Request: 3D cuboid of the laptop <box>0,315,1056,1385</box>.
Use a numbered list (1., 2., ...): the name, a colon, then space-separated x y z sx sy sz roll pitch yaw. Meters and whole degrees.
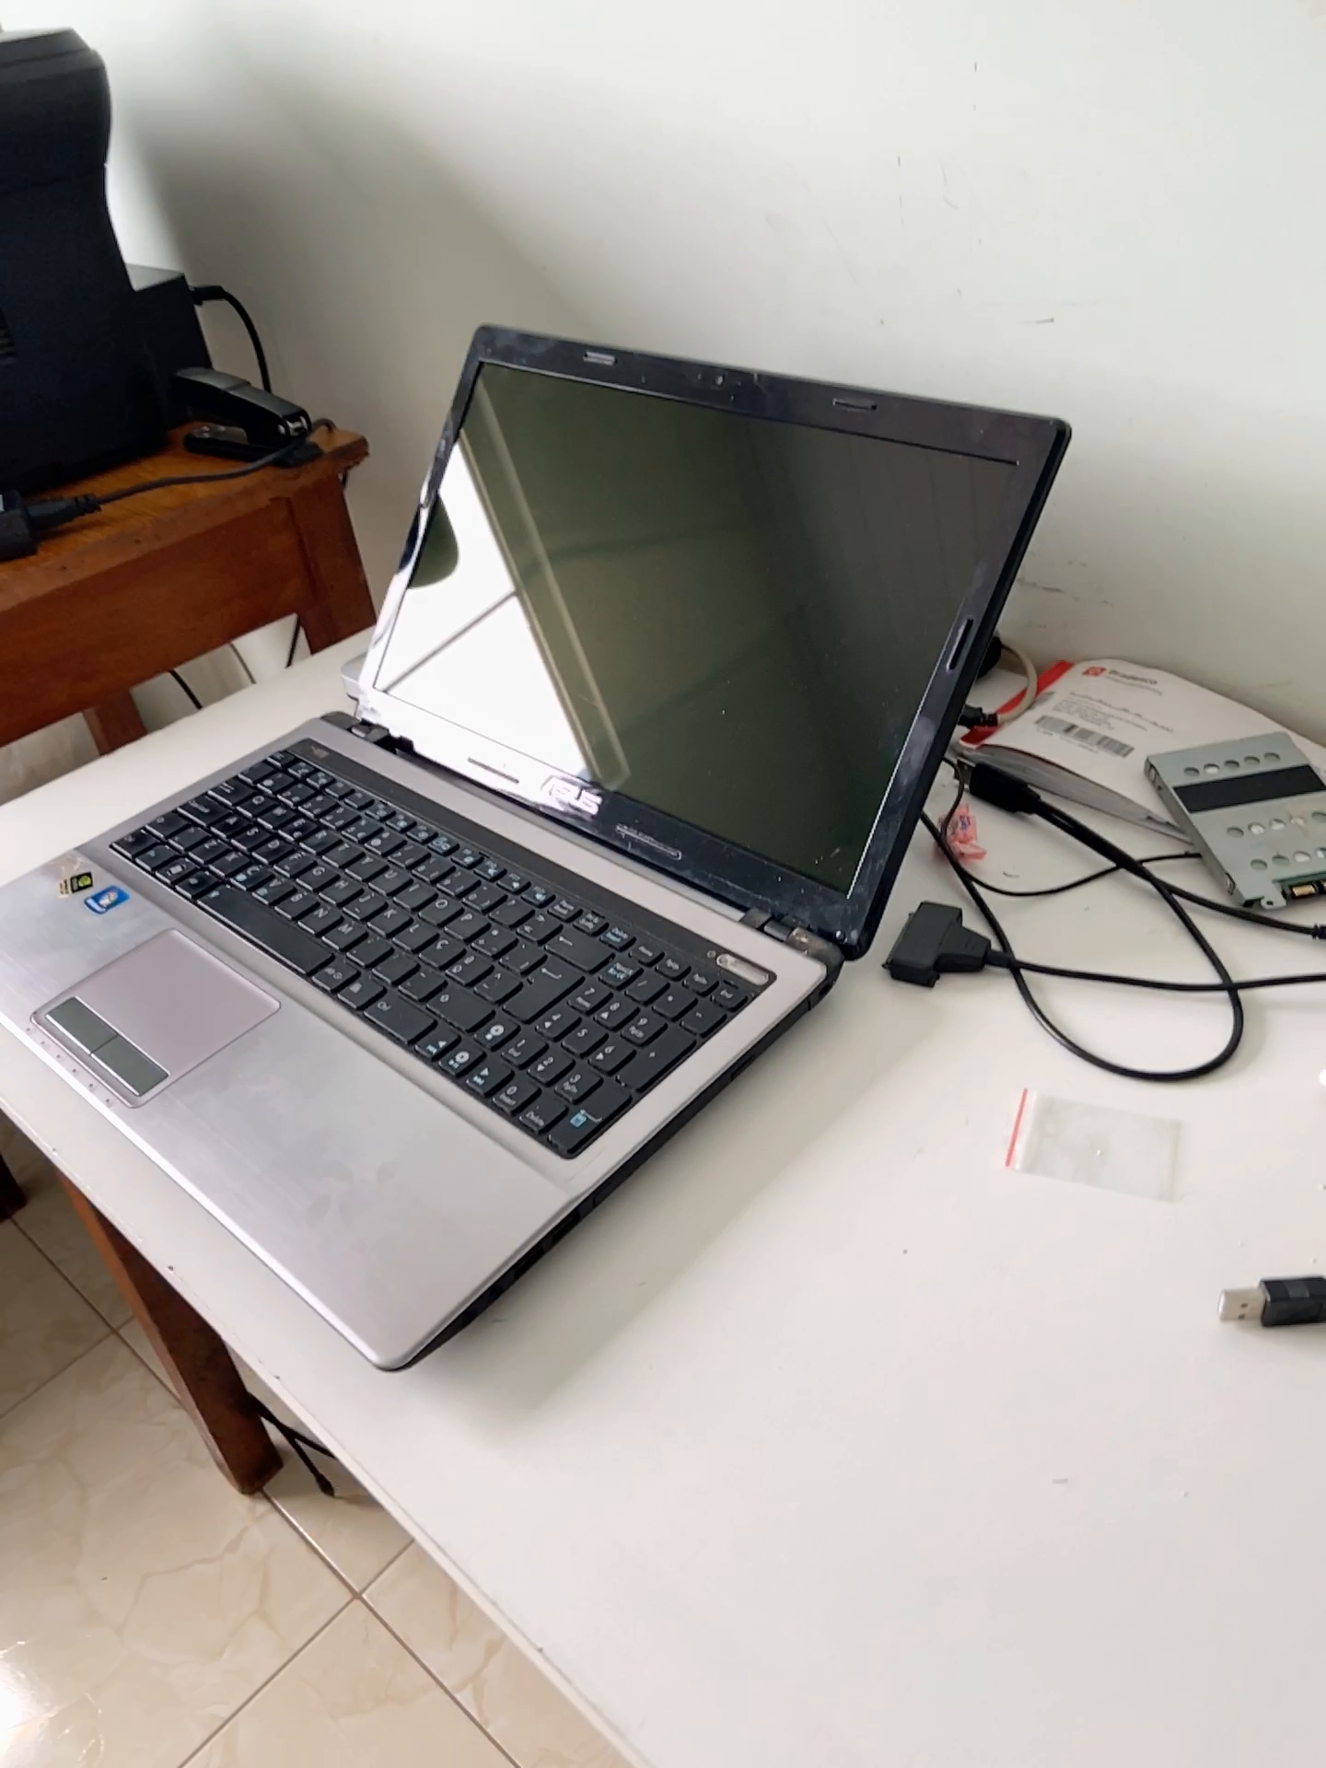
1. laptop: -0.101 -0.083 0.616 0.377 0.179 0.416 25 49 37
